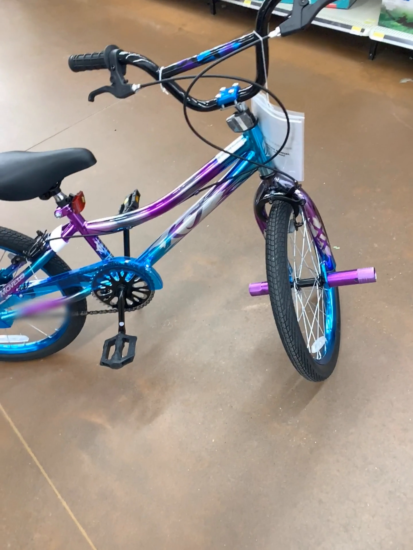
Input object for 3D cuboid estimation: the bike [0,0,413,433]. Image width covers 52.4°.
[{"bbox_3d":[-0.262,-0.237,1.014,1.119,0.877,0.622,-12,50,-4],"label":"bike"}]
